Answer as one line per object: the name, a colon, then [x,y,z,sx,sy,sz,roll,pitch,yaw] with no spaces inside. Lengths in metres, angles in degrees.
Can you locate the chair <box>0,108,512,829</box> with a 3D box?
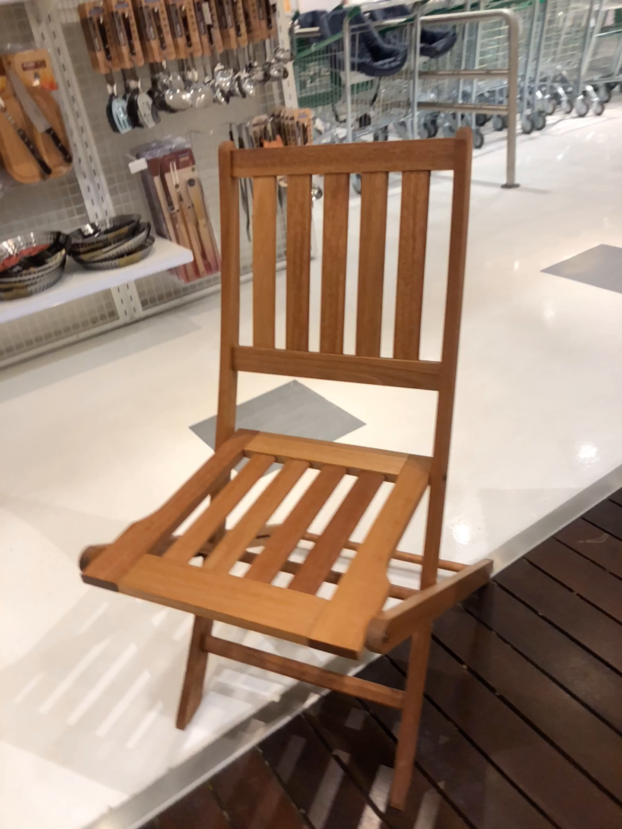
chair: [0.002,0.055,1.081,0.501,0.863,0.604,6,34,25]
